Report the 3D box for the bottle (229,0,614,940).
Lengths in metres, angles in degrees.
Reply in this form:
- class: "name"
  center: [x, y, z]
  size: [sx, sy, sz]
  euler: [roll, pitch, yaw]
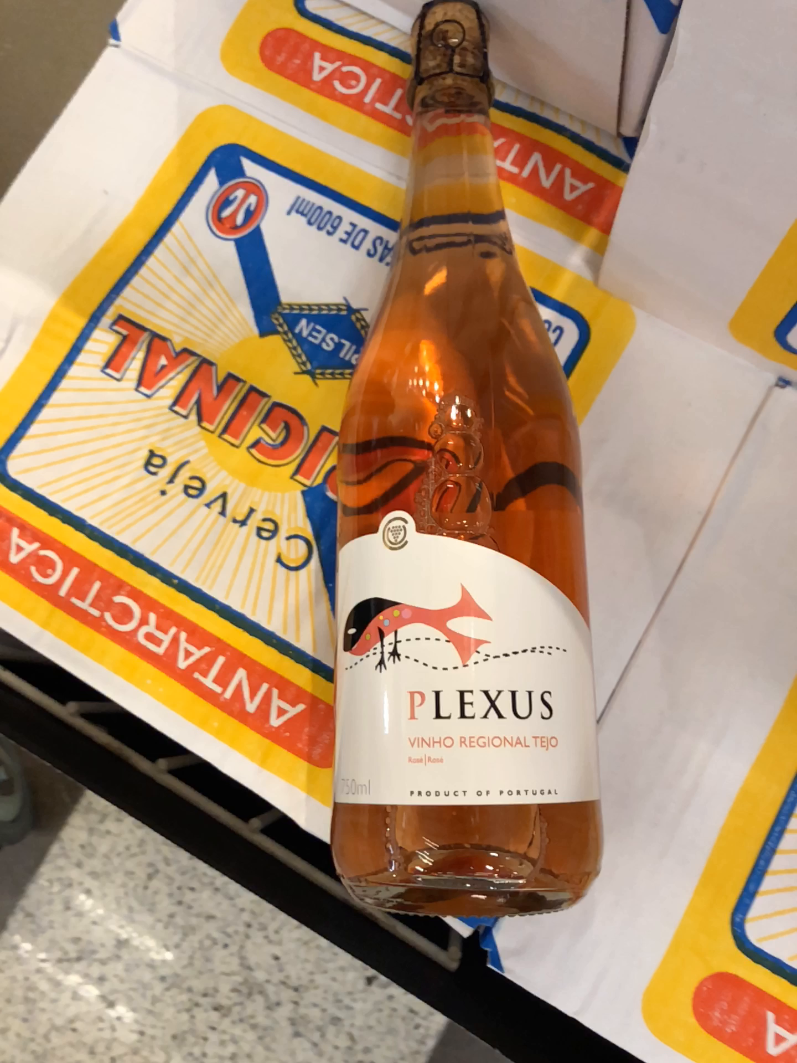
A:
- class: "bottle"
  center: [0.007, -0.038, 0.275]
  size: [0.090, 0.070, 0.290]
  euler: [-1, 76, 5]
